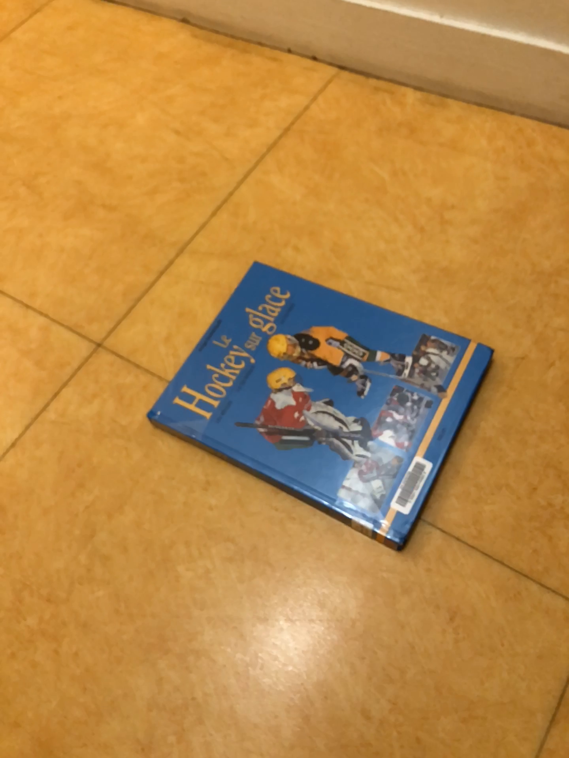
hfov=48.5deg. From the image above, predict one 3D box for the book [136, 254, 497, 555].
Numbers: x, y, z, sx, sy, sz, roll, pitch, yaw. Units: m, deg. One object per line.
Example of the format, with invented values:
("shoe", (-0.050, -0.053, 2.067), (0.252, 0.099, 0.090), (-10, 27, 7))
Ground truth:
("book", (0.030, 0.005, 0.580), (0.260, 0.020, 0.211), (23, 65, 19))
